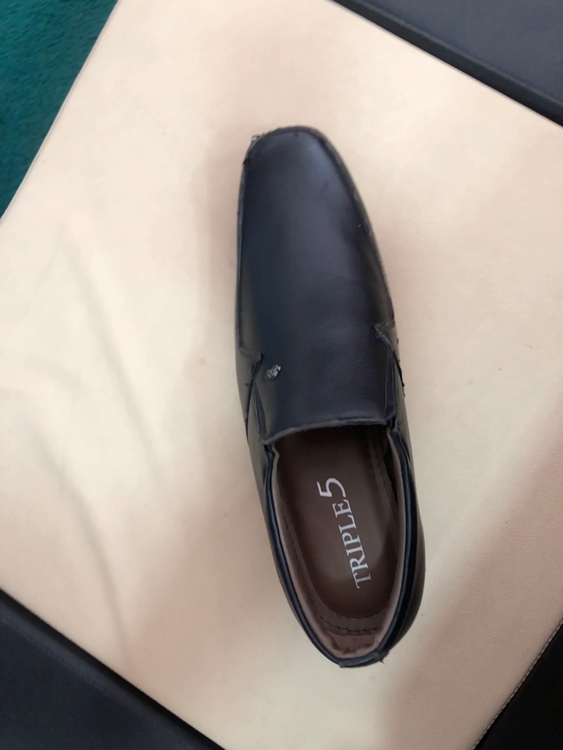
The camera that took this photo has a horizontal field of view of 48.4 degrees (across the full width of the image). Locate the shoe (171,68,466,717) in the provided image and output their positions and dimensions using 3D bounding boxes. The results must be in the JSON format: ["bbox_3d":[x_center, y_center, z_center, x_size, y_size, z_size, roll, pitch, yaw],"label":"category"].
[{"bbox_3d":[0.023,0.011,0.344,0.100,0.090,0.300,-8,90,9],"label":"shoe"}]
